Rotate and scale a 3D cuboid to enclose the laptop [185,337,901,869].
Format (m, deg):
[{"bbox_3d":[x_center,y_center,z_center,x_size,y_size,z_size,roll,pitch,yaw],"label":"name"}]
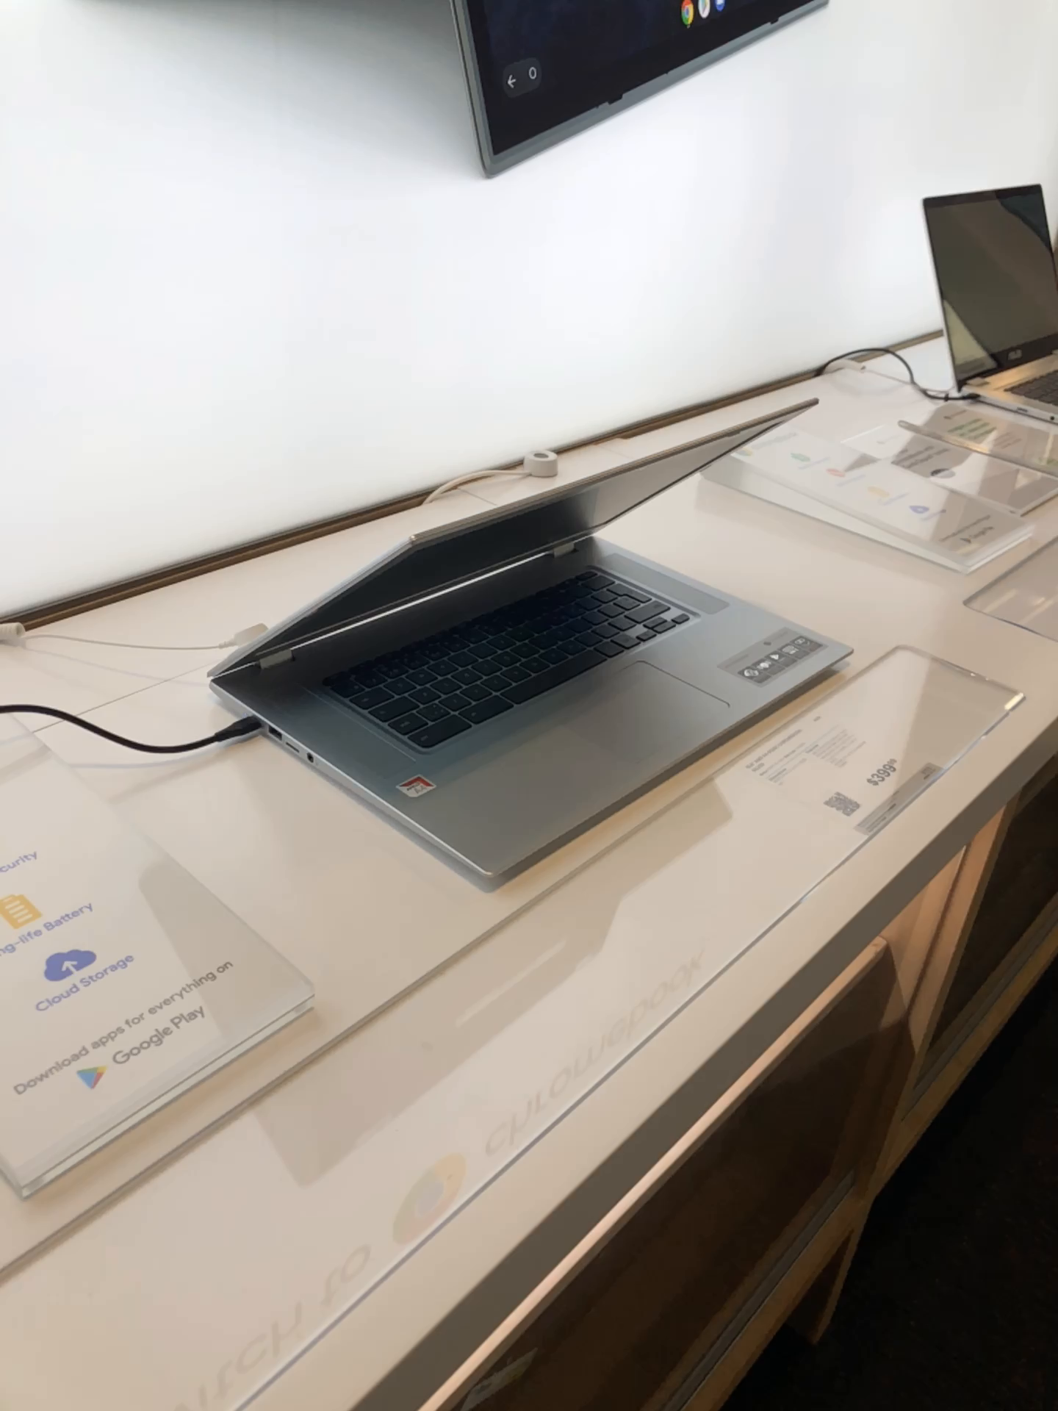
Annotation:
[{"bbox_3d":[0.016,-0.100,0.746,0.255,0.166,0.369,28,39,34],"label":"laptop"}]
